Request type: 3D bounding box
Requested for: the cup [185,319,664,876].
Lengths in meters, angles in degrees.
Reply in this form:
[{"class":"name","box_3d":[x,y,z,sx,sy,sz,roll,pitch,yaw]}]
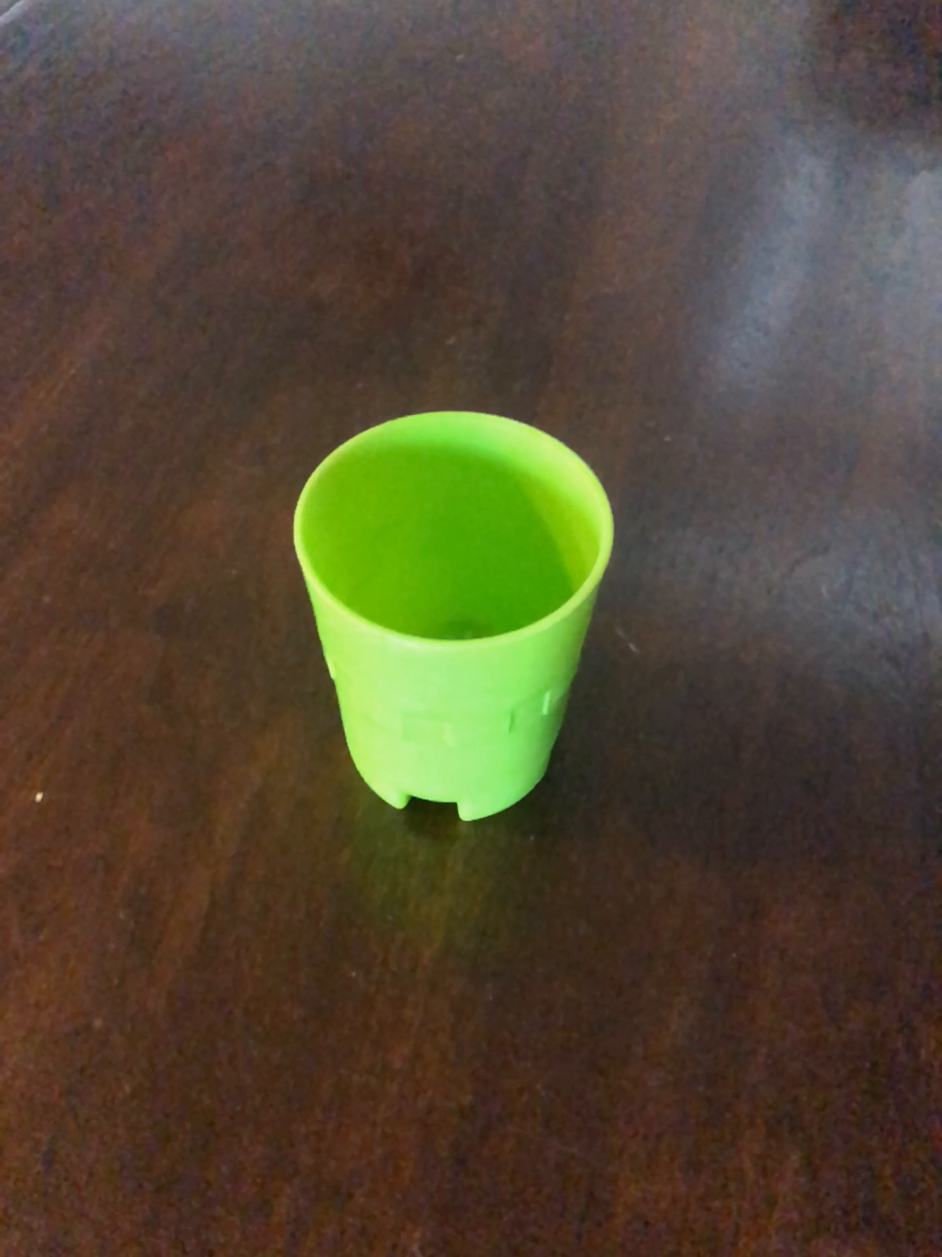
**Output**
[{"class":"cup","box_3d":[-0.008,-0.005,0.246,0.070,0.090,0.070,1,53,-1]}]
